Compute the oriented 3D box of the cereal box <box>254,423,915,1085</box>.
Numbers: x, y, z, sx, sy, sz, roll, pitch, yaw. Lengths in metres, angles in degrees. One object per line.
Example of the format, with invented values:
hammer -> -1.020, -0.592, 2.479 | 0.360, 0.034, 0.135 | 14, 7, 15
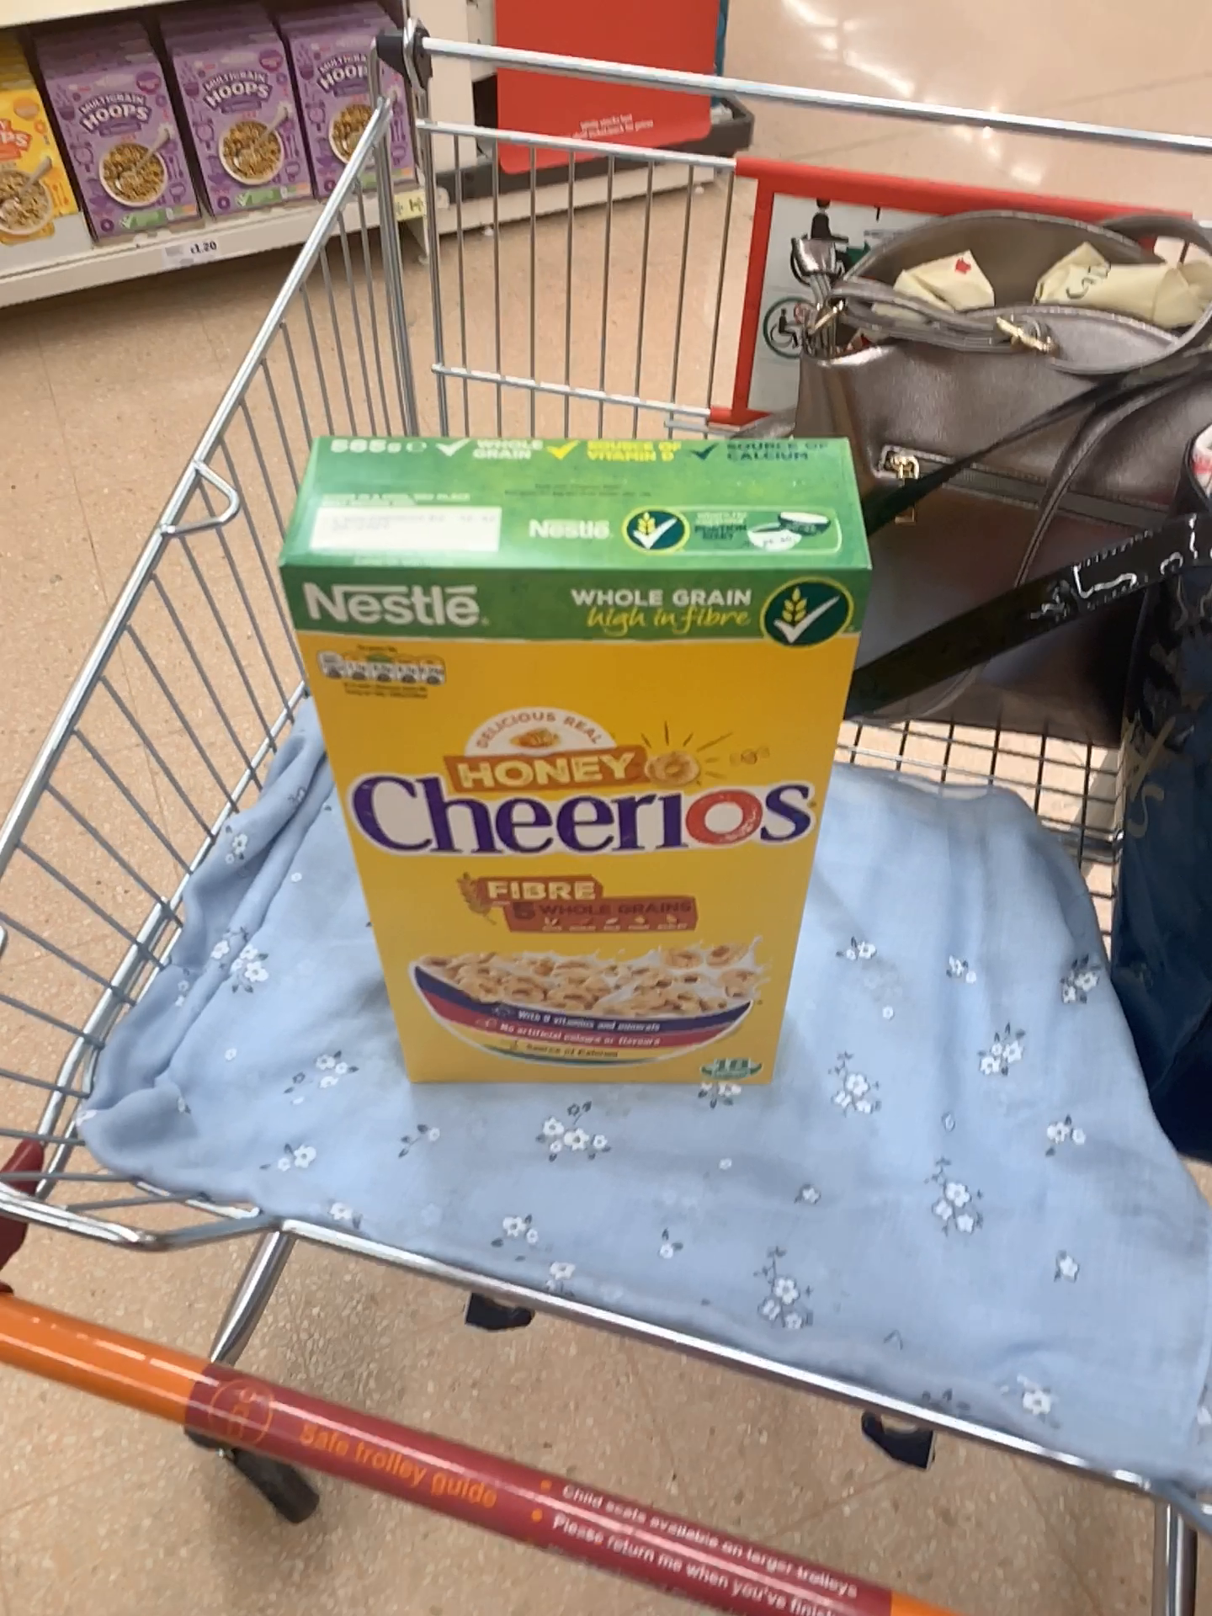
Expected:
cereal box -> -0.008, 0.005, 0.549 | 0.210, 0.347, 0.081 | 0, 50, 0
